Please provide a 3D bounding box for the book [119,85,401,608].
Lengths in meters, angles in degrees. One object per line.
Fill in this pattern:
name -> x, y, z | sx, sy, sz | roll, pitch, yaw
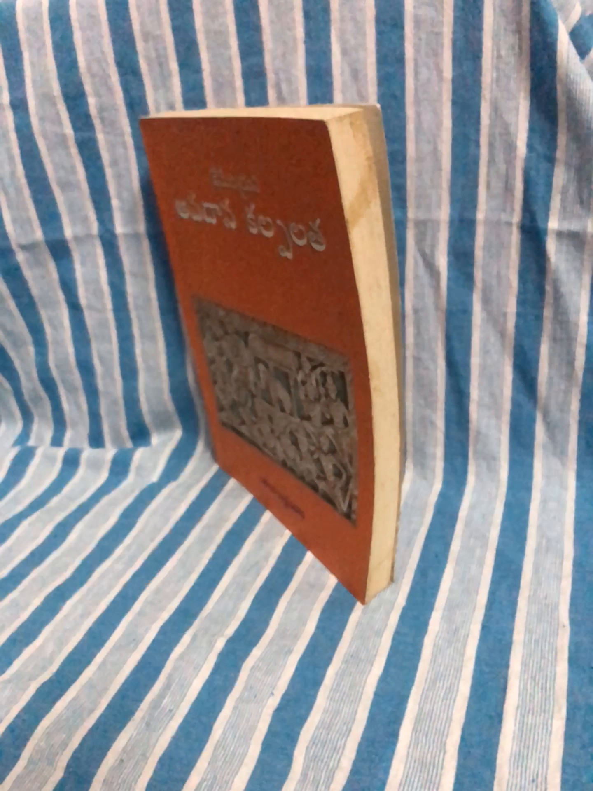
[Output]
book -> -0.021, -0.033, 0.347 | 0.030, 0.229, 0.180 | -22, 31, -26
